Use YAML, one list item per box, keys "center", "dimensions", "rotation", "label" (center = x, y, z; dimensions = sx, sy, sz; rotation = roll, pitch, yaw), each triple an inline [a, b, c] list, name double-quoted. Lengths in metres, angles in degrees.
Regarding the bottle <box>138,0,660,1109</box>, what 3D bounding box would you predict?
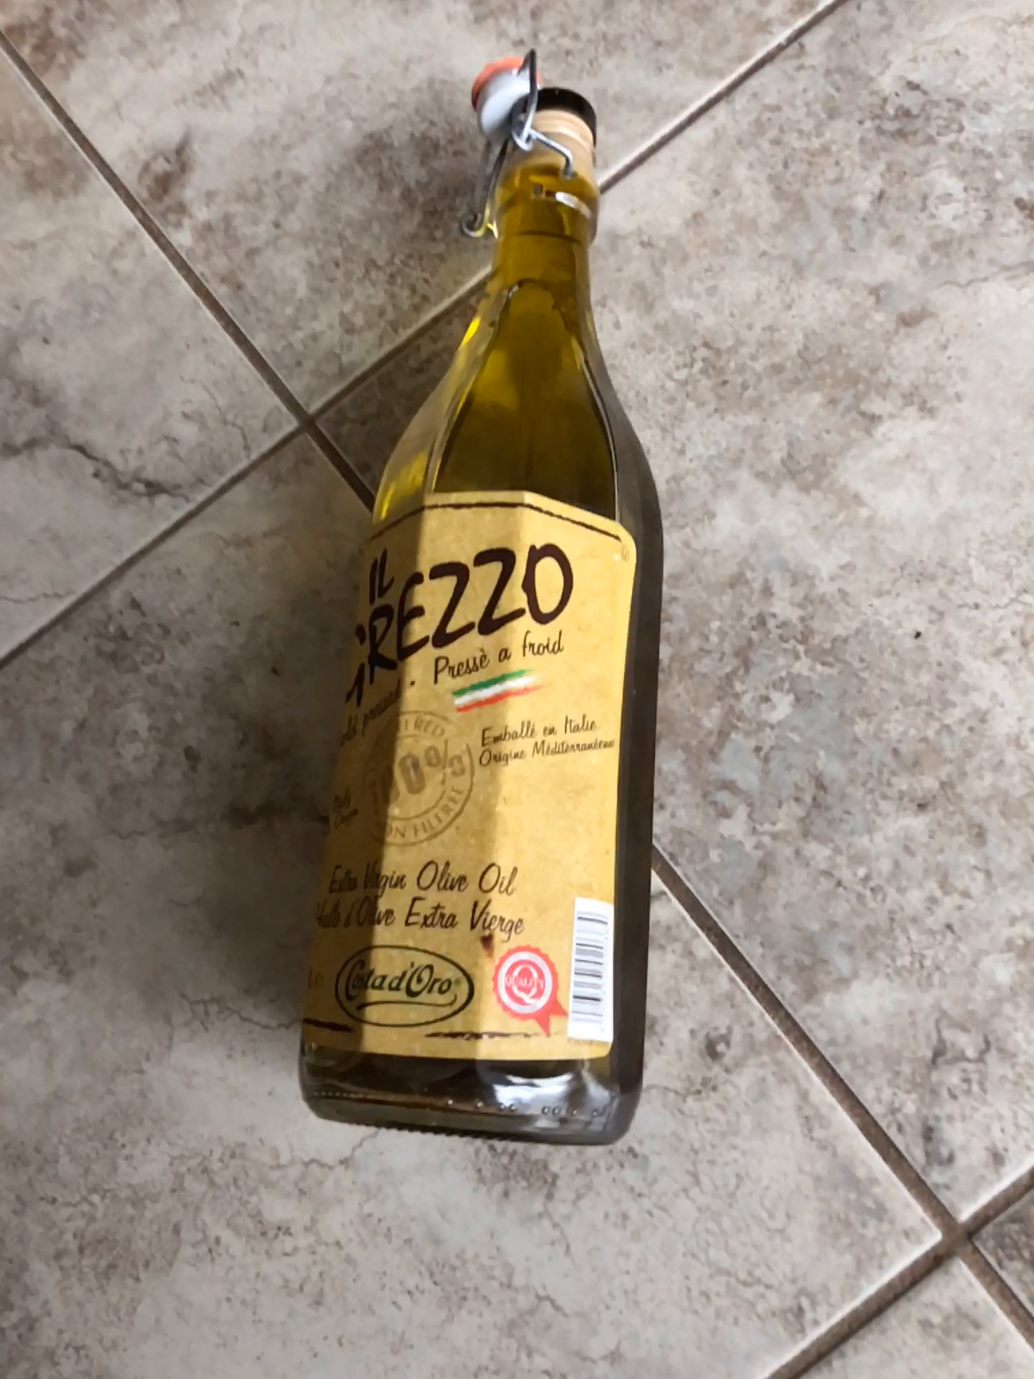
- center: [-0.012, -0.069, 0.328]
  dimensions: [0.090, 0.100, 0.350]
  rotation: [-2, 70, 14]
  label: "bottle"
